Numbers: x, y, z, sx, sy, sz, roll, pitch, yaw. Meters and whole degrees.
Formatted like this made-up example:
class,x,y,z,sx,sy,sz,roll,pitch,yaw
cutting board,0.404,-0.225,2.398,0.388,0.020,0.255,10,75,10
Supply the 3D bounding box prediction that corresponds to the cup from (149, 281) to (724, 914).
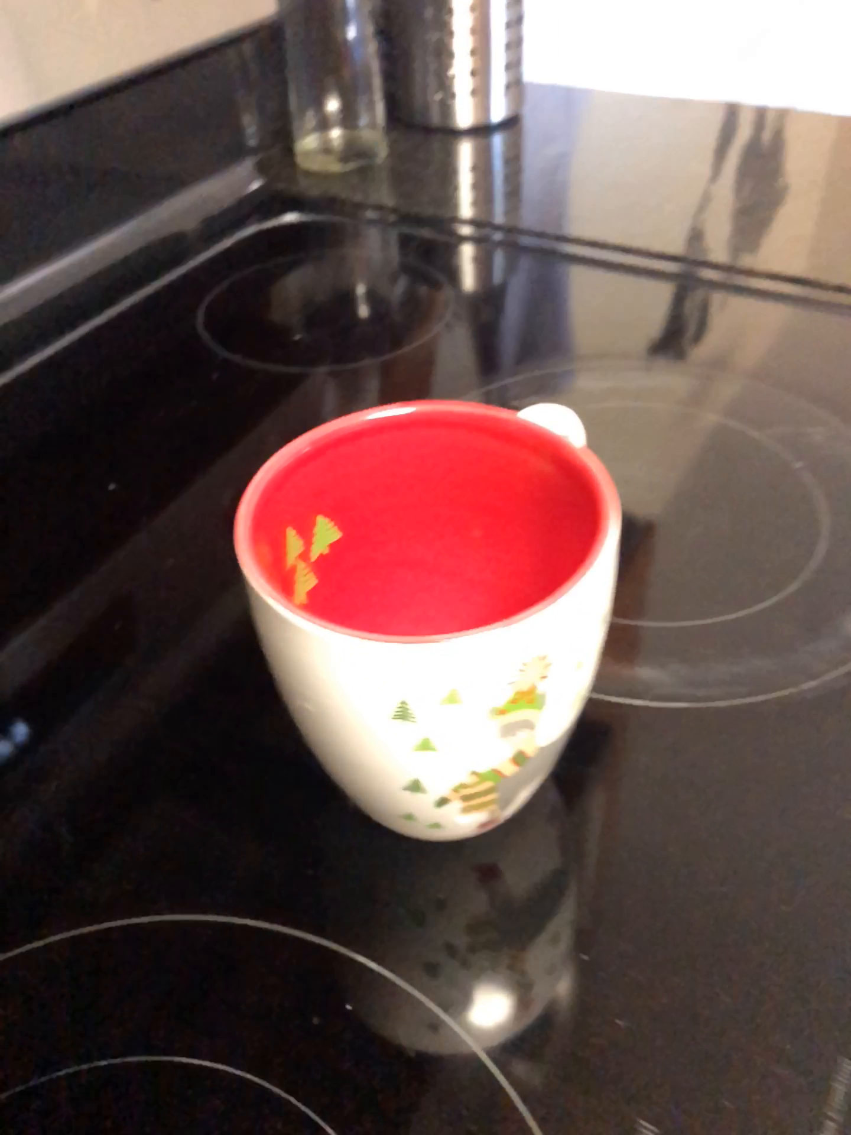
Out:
class,x,y,z,sx,sy,sz,roll,pitch,yaw
cup,0.014,-0.002,0.285,0.100,0.100,0.140,17,45,22
